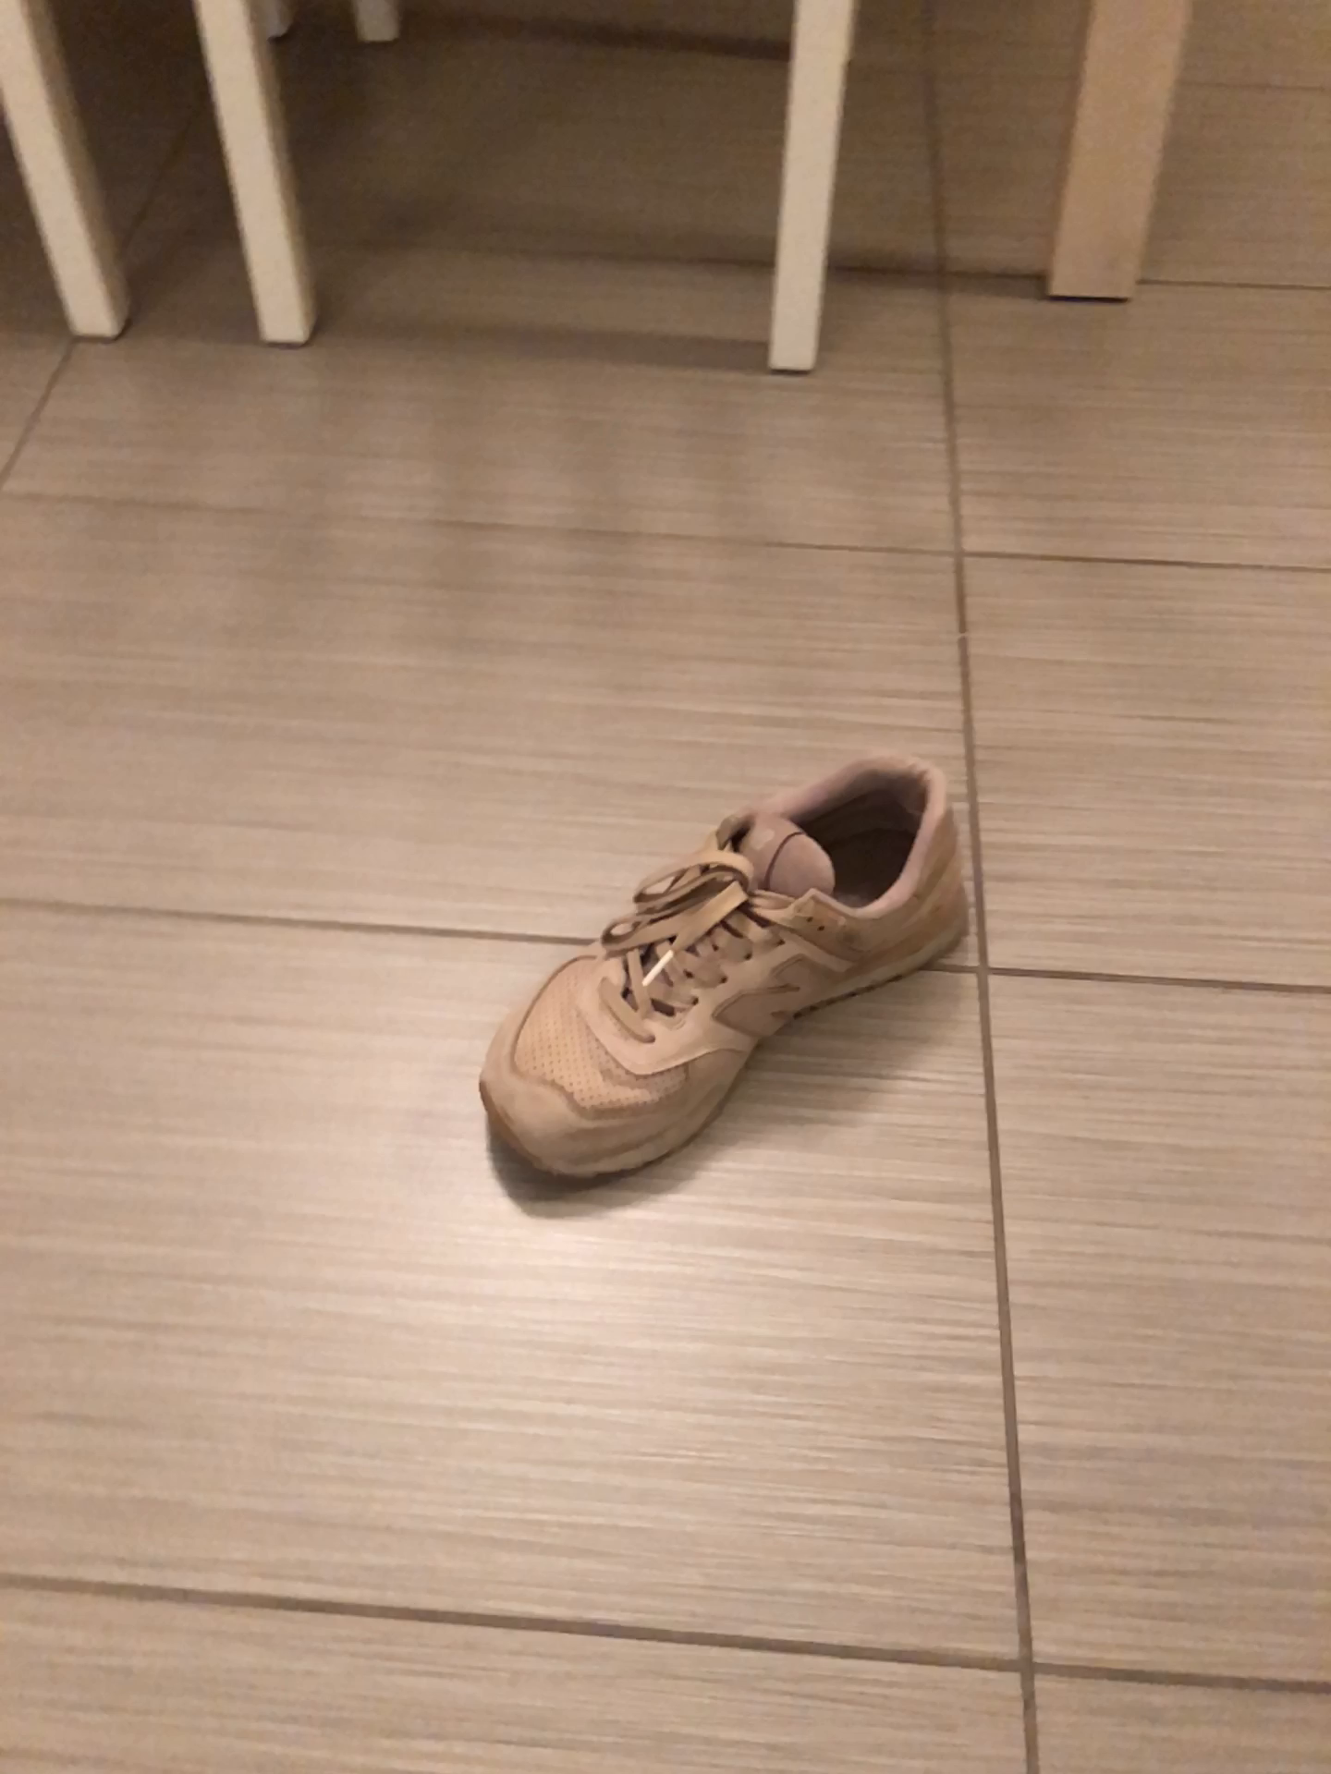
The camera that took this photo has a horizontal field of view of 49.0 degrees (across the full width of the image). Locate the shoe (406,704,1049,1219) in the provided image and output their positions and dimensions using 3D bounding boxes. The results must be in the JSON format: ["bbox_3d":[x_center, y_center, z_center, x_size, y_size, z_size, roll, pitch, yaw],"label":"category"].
[{"bbox_3d":[0.031,0.029,0.676,0.271,0.090,0.100,-26,58,-18],"label":"shoe"}]
